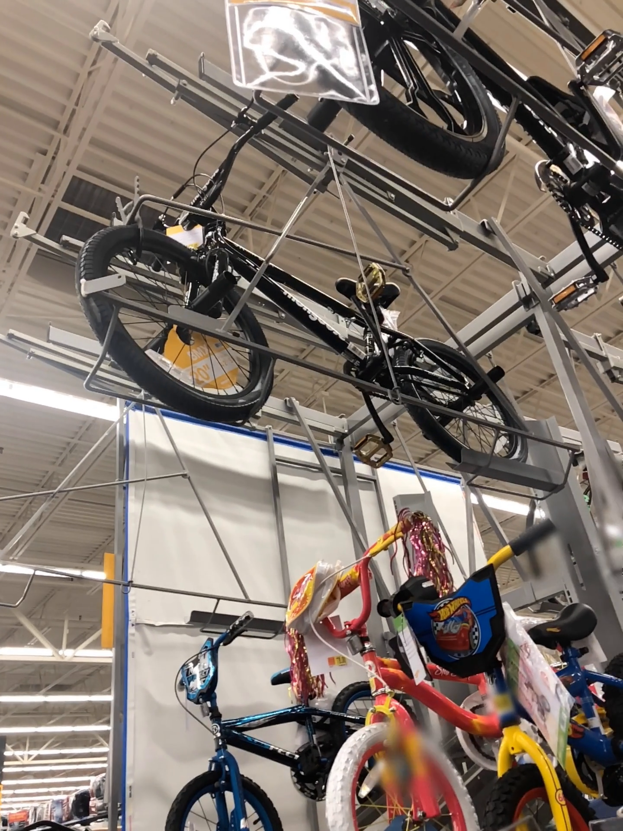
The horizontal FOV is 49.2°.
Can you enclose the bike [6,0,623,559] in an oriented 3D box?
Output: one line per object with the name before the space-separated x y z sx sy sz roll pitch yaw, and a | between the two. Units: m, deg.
bike | 0.030 -0.243 1.852 1.350 0.910 0.751 15 -38 -33
